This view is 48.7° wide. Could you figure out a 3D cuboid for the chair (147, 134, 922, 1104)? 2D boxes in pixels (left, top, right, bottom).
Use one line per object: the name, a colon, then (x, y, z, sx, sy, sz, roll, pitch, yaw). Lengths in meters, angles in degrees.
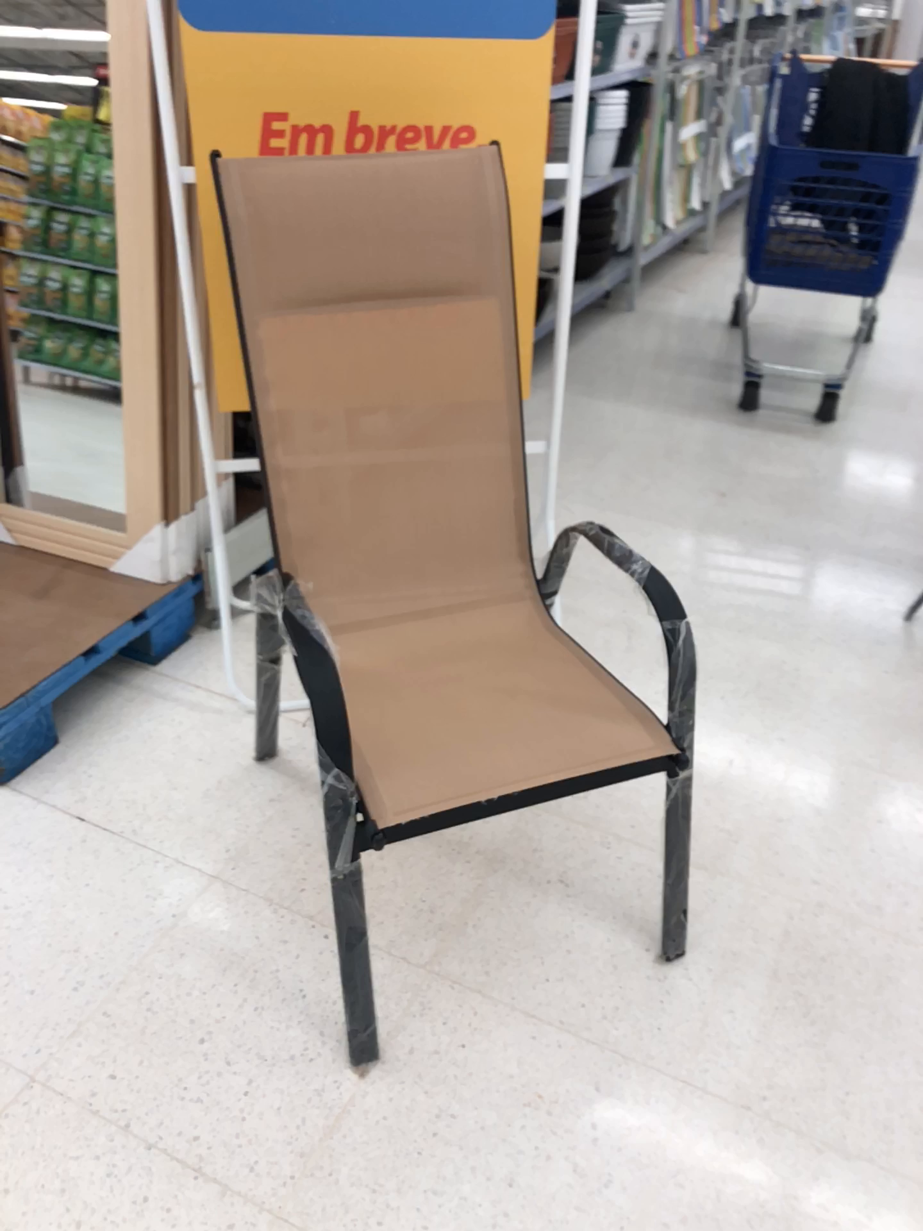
chair: (0.009, -0.050, 1.359, 0.621, 0.973, 0.705, -10, 34, -18)
